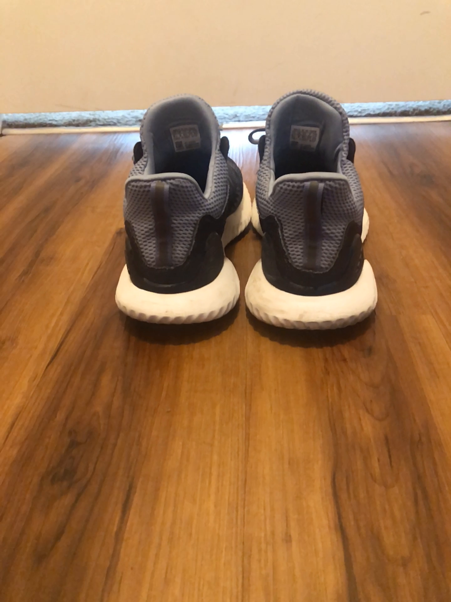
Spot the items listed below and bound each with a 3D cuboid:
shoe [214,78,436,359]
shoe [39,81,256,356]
[{"bbox_3d":[0.082,-0.108,0.473,0.131,0.130,0.336,2,34,7],"label":"shoe"},{"bbox_3d":[-0.039,-0.107,0.485,0.133,0.134,0.335,0,34,4],"label":"shoe"}]
